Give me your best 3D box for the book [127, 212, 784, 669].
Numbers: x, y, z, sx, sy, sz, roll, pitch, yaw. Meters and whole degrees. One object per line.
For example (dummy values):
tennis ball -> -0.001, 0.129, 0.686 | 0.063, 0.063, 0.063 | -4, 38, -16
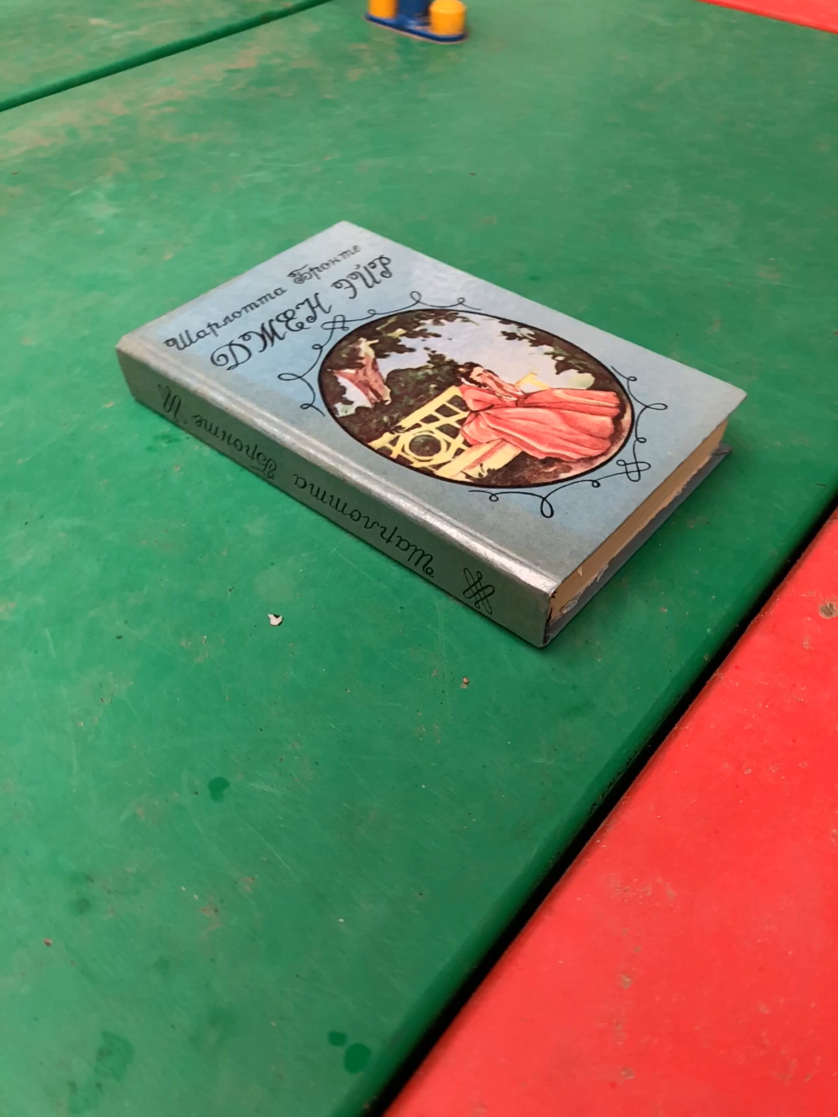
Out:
book -> 0.012, -0.061, 0.346 | 0.196, 0.030, 0.135 | 31, 53, 25
